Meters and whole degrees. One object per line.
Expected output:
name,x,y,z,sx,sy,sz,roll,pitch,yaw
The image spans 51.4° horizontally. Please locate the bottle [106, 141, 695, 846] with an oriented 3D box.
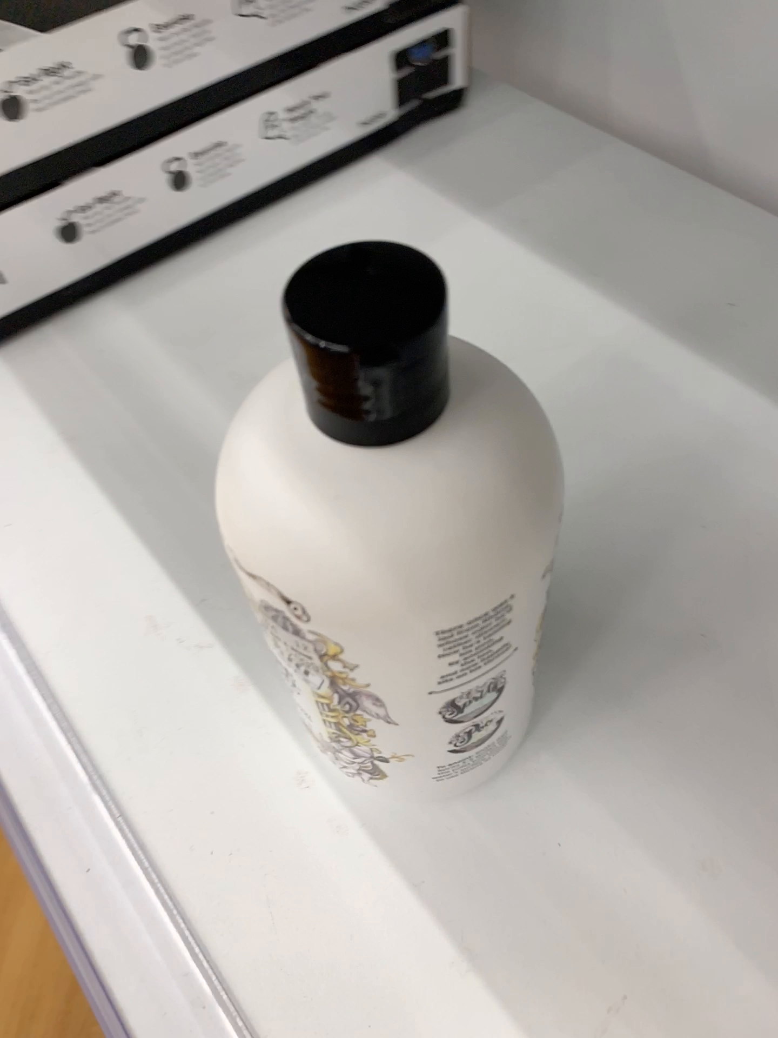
bottle,0.004,0.009,0.197,0.070,0.153,0.073,-2,55,3
